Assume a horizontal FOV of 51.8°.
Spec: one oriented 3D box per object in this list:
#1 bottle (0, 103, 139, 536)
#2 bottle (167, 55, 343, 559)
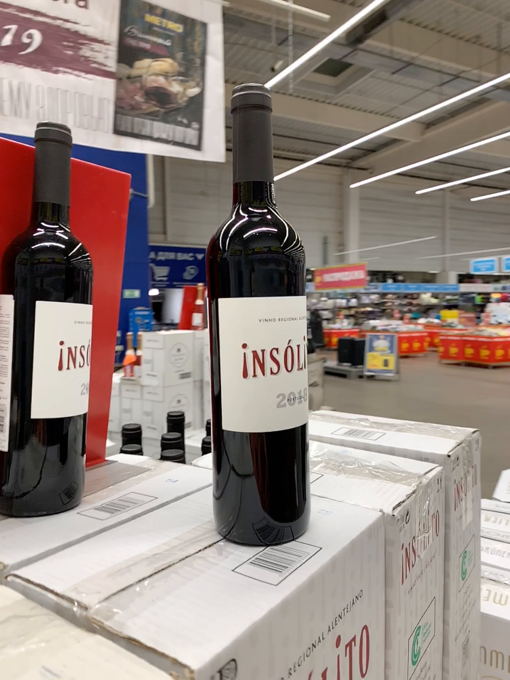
[{"bbox_3d":[-0.172,-0.018,0.444,0.090,0.320,0.090,4,2,0],"label":"bottle"},{"bbox_3d":[0.002,-0.021,0.387,0.090,0.310,0.090,0,3,0],"label":"bottle"}]
